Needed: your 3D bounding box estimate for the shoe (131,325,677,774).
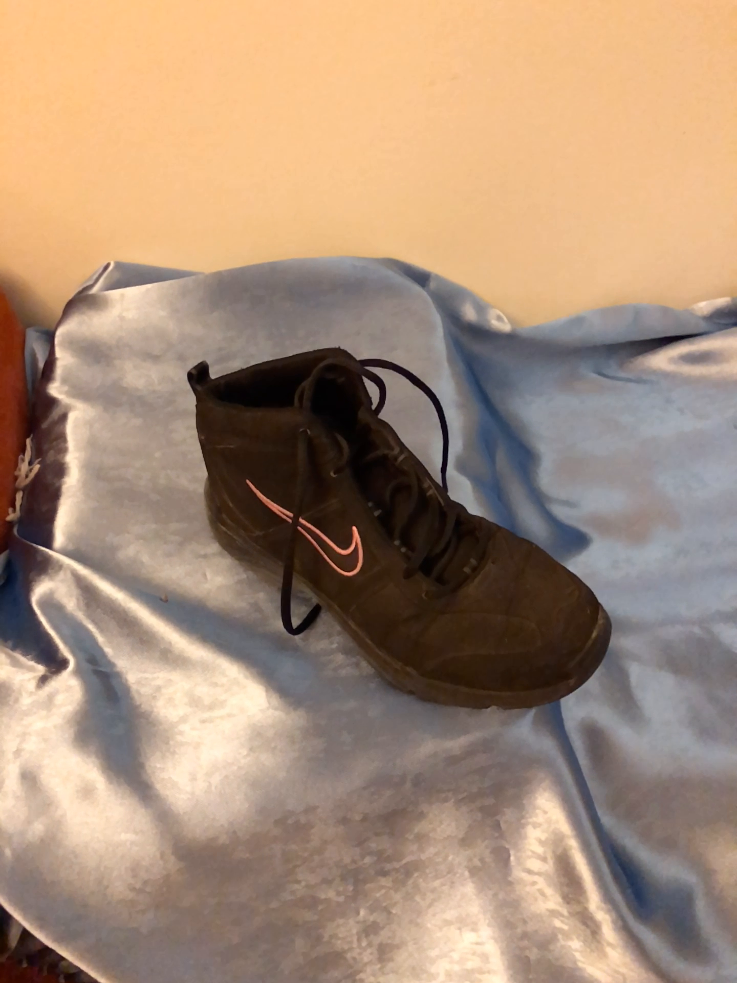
[{"bbox_3d":[0.011,0.019,0.446,0.261,0.099,0.108,27,55,26],"label":"shoe"}]
